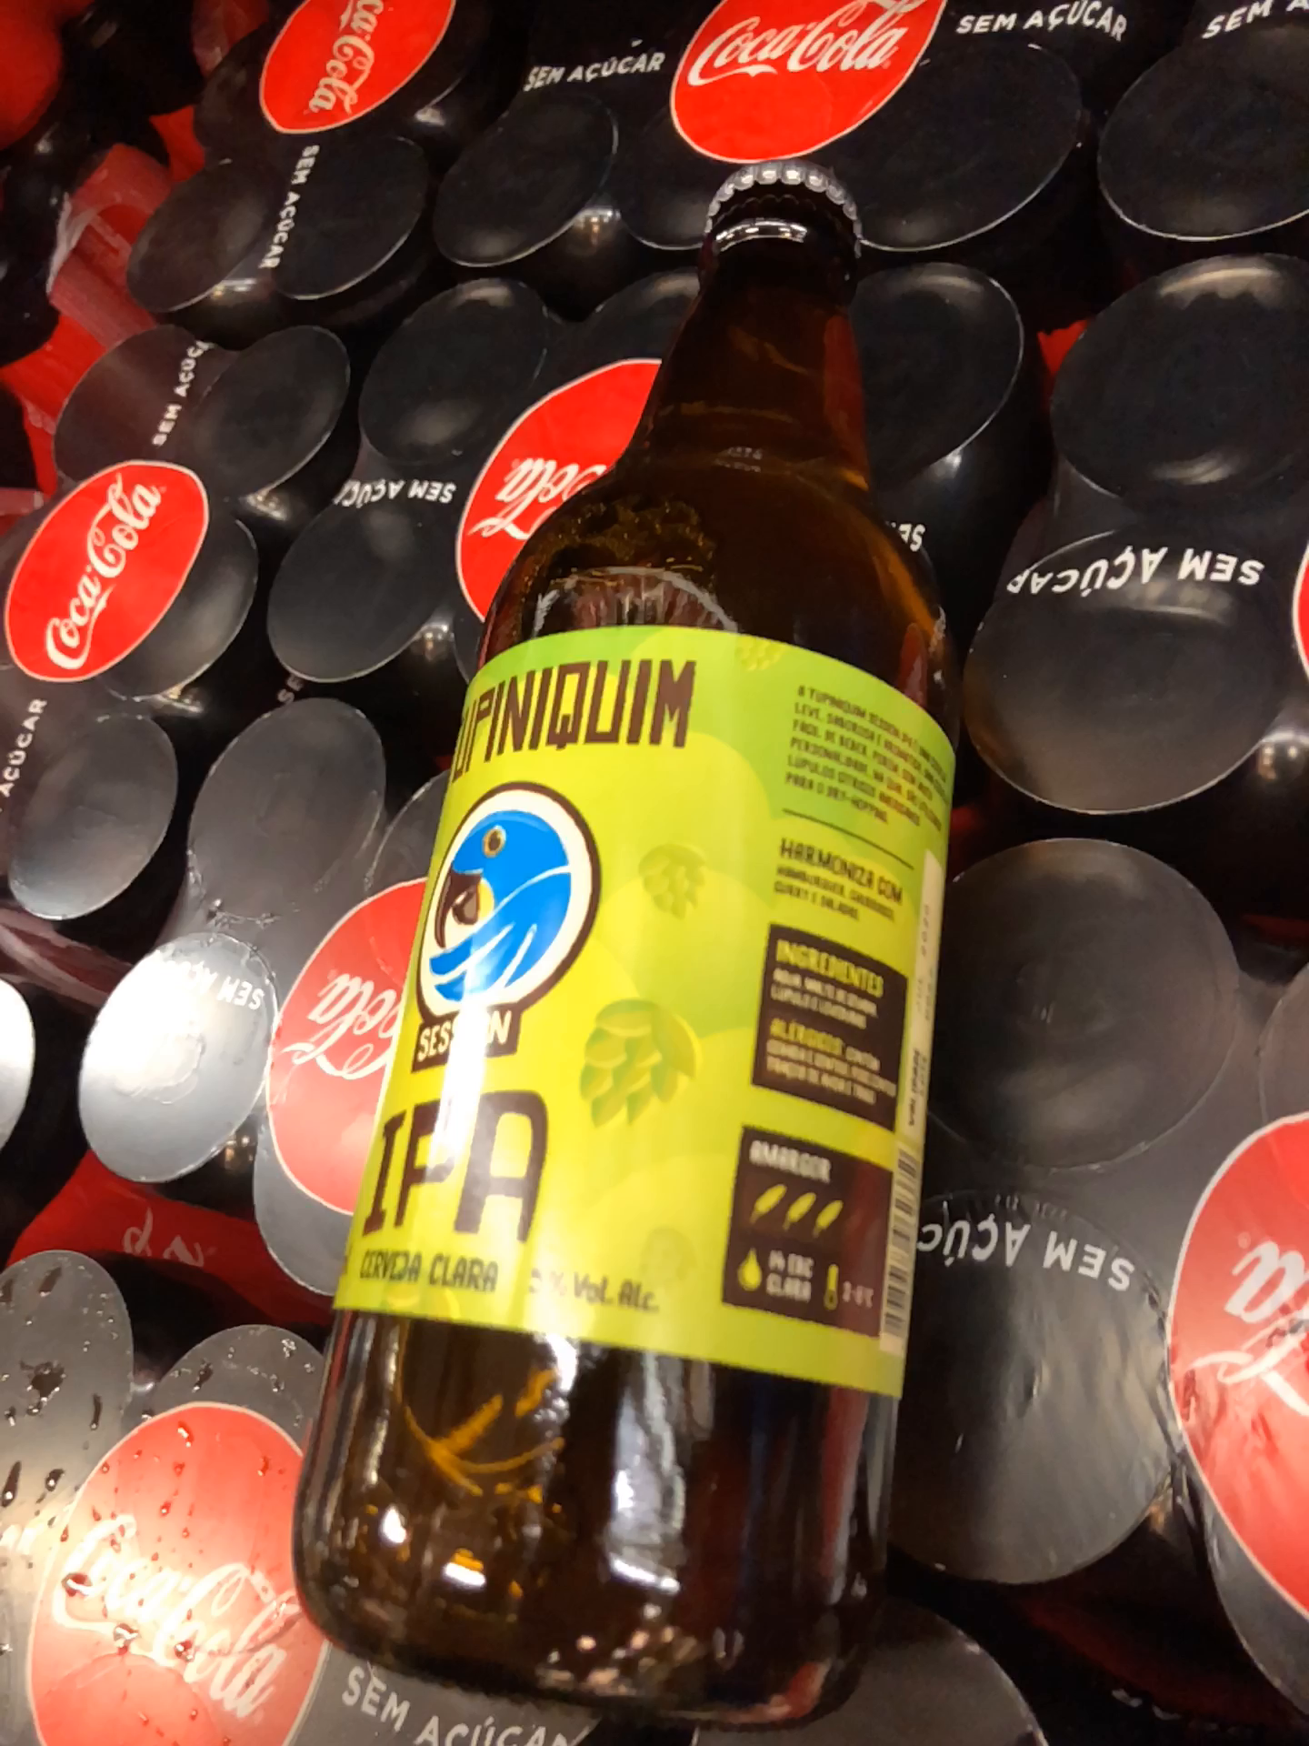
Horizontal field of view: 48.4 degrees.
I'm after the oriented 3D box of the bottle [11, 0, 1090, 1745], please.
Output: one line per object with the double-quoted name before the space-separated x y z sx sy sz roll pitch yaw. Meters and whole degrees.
"bottle" 0.005 -0.022 0.211 0.090 0.070 0.260 -3 66 28
